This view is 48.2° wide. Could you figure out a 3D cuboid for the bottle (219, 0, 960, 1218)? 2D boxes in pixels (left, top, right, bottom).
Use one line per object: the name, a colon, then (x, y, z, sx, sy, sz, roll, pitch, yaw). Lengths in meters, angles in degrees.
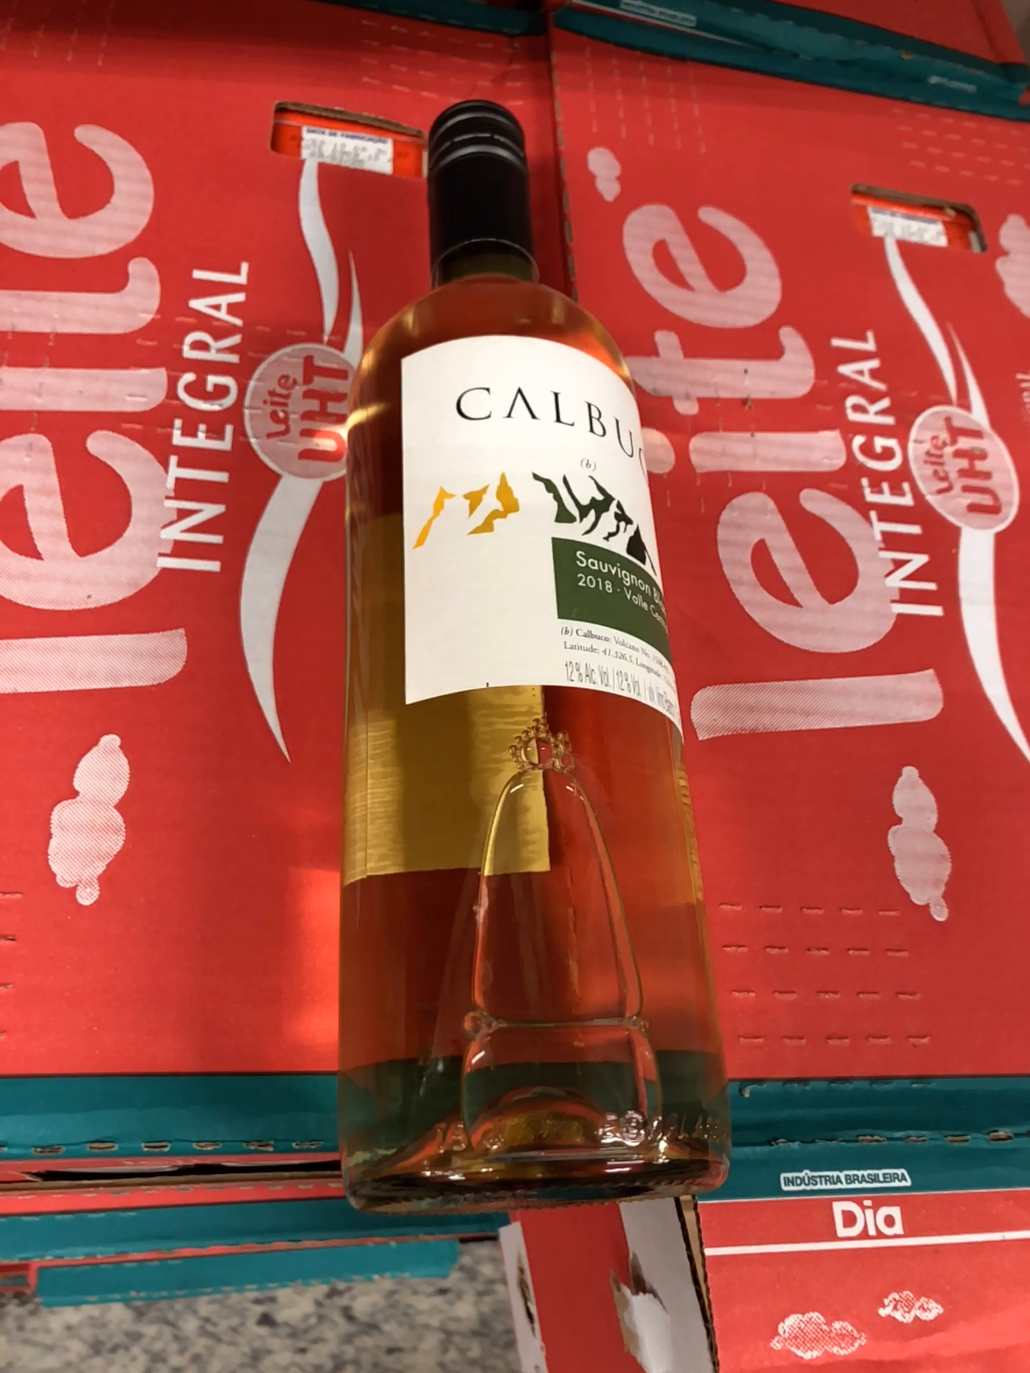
bottle: (0.007, -0.039, 0.269, 0.090, 0.100, 0.291, 22, 56, -43)
